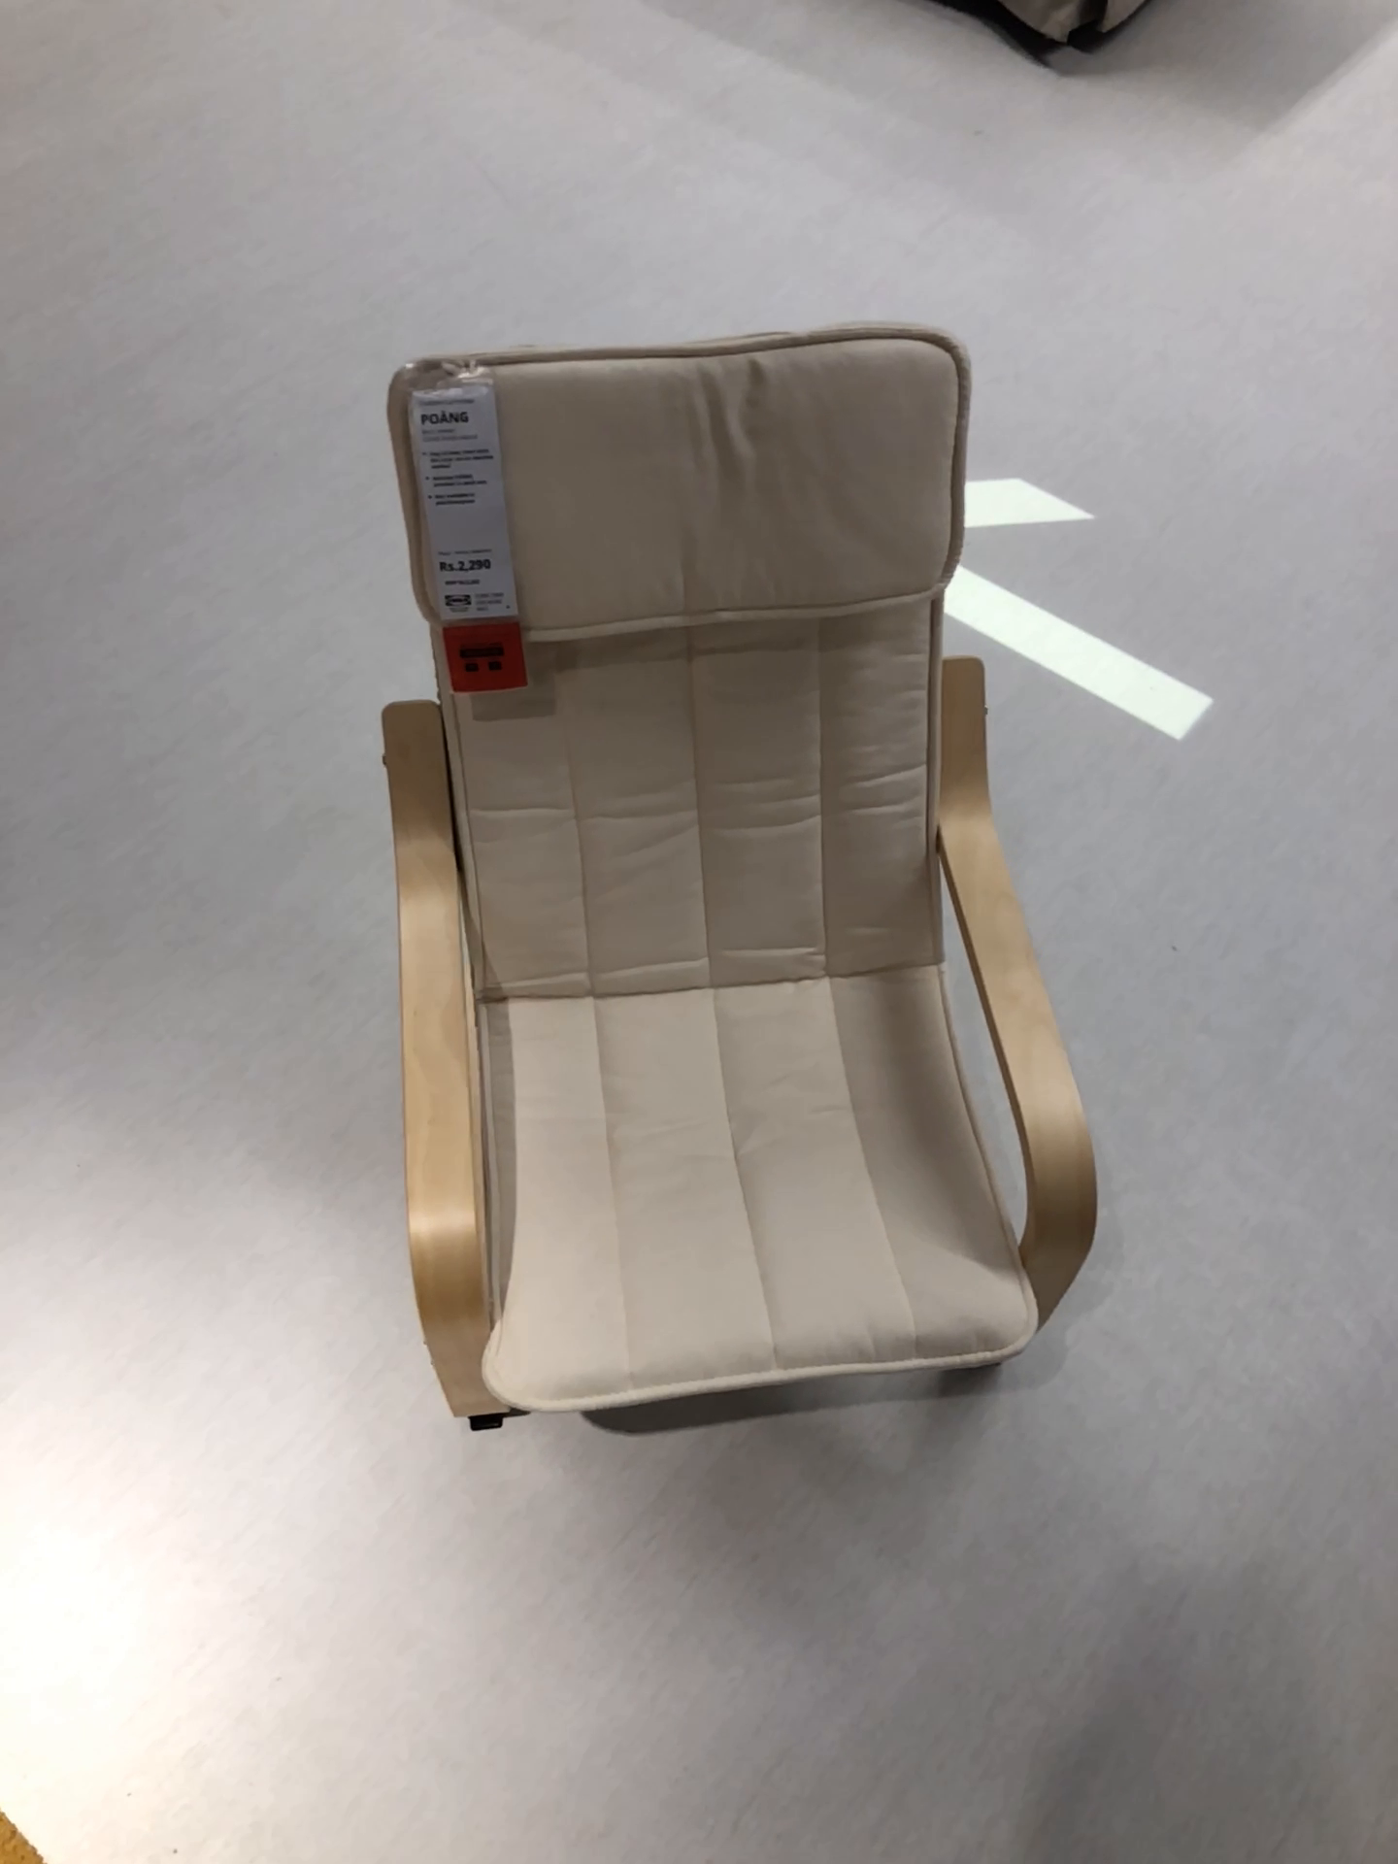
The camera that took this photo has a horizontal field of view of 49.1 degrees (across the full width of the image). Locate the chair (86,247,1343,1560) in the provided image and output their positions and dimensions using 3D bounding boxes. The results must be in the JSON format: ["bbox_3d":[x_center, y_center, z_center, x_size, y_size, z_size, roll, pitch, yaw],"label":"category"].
[{"bbox_3d":[-0.024,0.050,1.182,0.560,0.836,0.583,-7,57,-4],"label":"chair"}]
